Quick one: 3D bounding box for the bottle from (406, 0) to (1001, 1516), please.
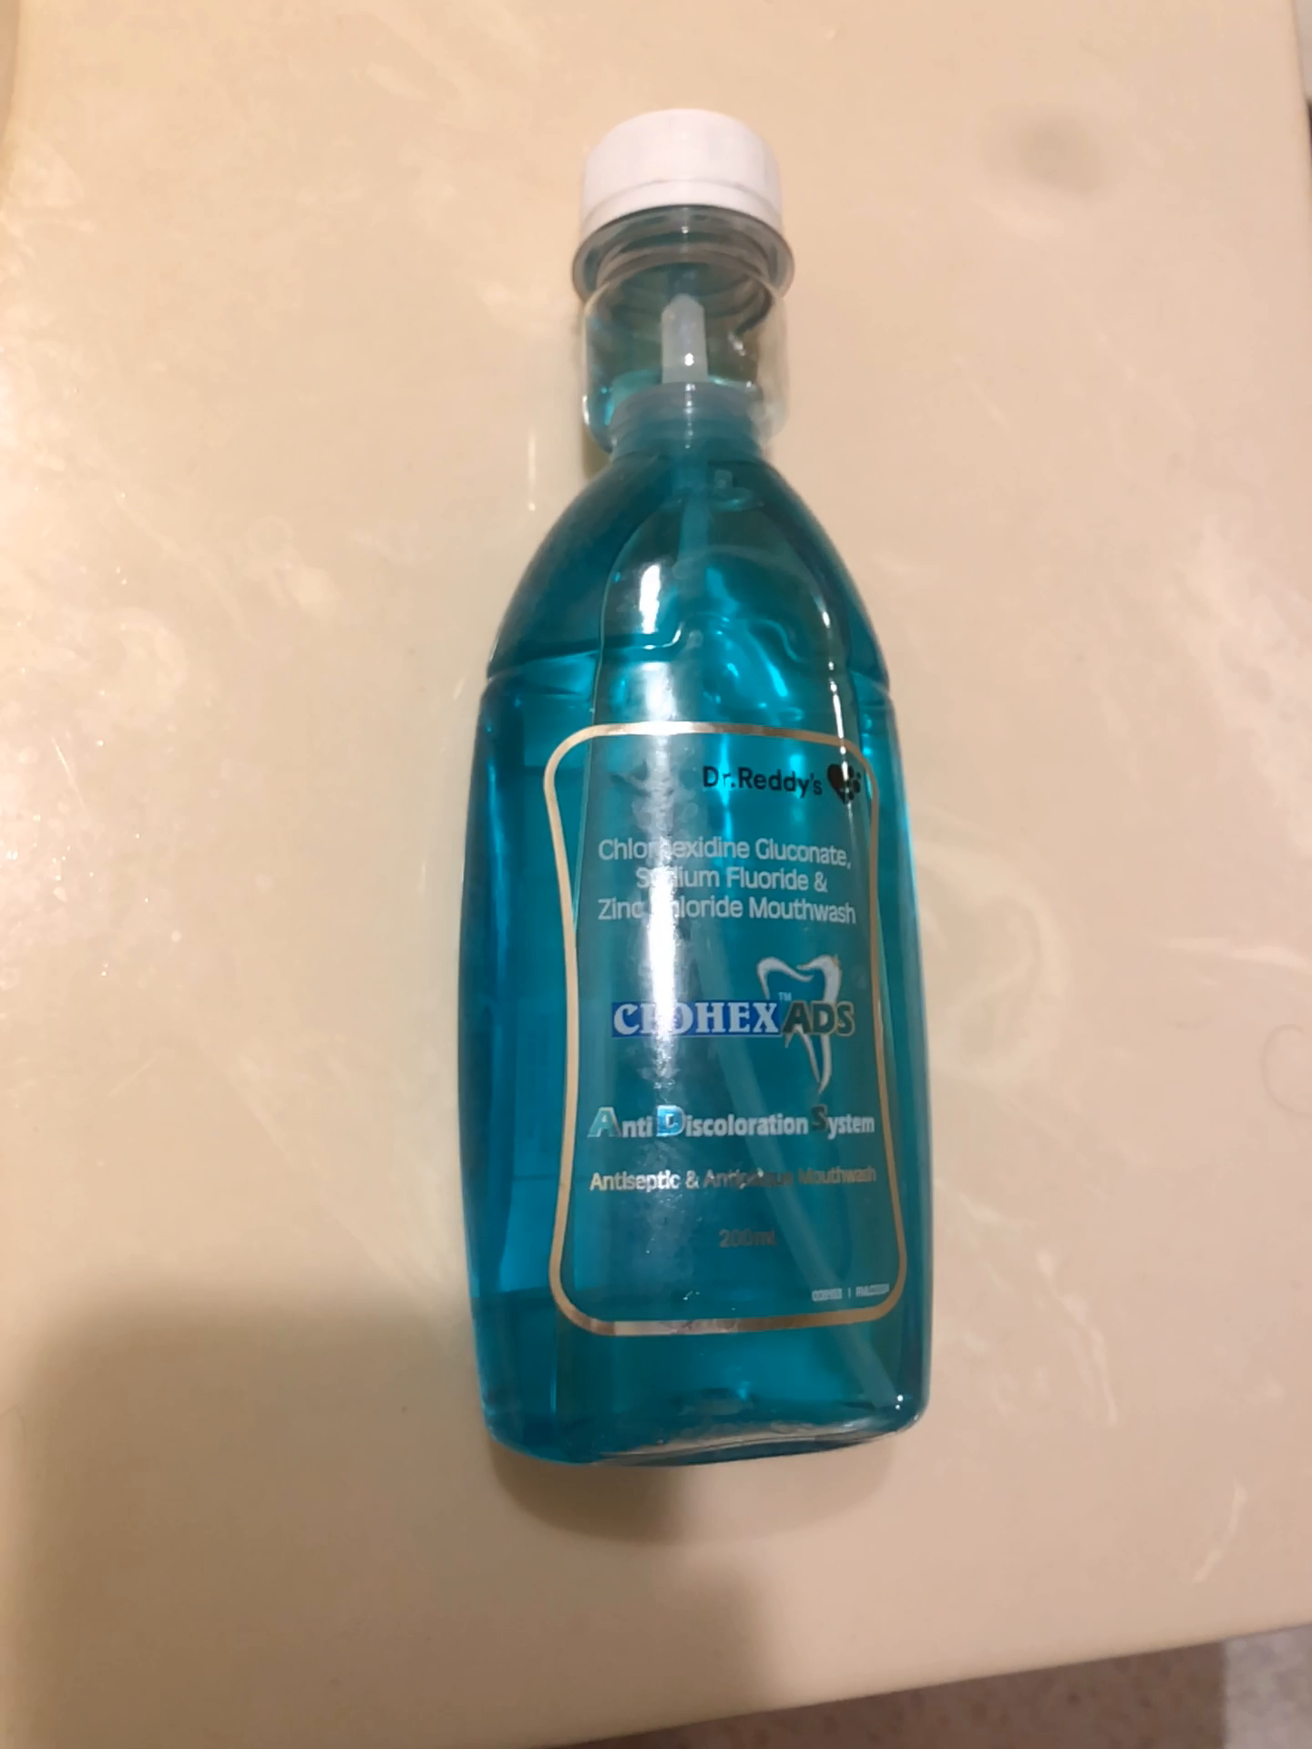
[{"bbox_3d":[0.003,-0.027,0.212,0.070,0.040,0.210,2,81,-17],"label":"bottle"}]
